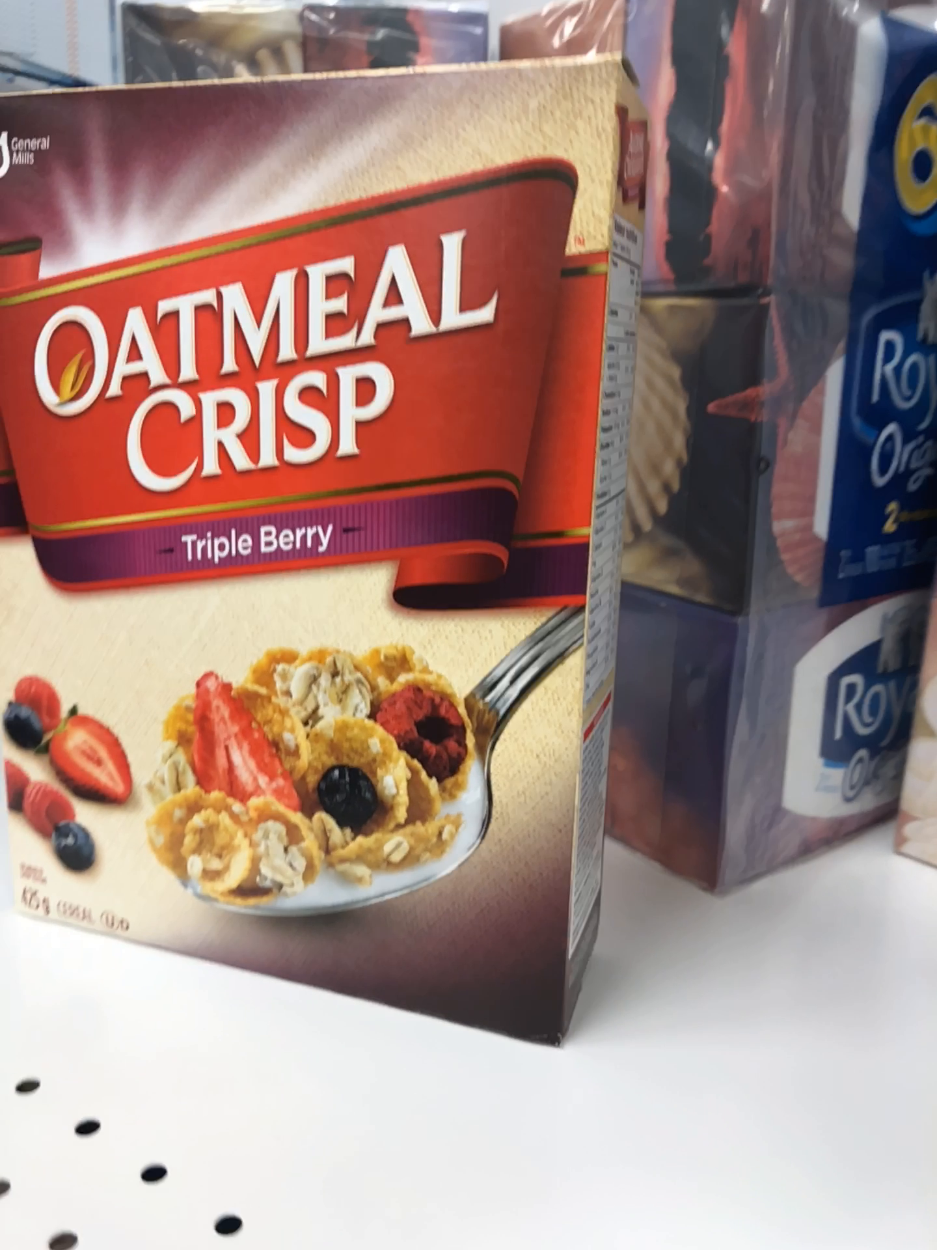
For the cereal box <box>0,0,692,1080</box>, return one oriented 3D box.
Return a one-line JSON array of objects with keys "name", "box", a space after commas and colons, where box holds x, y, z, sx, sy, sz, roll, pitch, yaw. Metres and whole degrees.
[{"name": "cereal box", "box": [-0.049, -0.023, 0.320, 0.200, 0.269, 0.060, 7, 15, 20]}]
